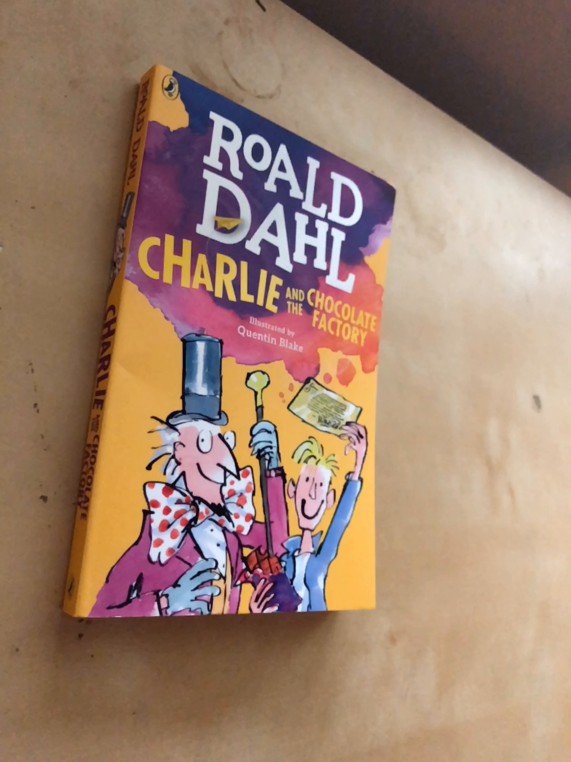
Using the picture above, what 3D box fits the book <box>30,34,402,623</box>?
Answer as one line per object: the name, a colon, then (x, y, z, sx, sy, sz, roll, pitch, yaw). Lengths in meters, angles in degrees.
book: (-0.016, -0.012, 0.265, 0.135, 0.040, 0.201, 13, 76, -37)
